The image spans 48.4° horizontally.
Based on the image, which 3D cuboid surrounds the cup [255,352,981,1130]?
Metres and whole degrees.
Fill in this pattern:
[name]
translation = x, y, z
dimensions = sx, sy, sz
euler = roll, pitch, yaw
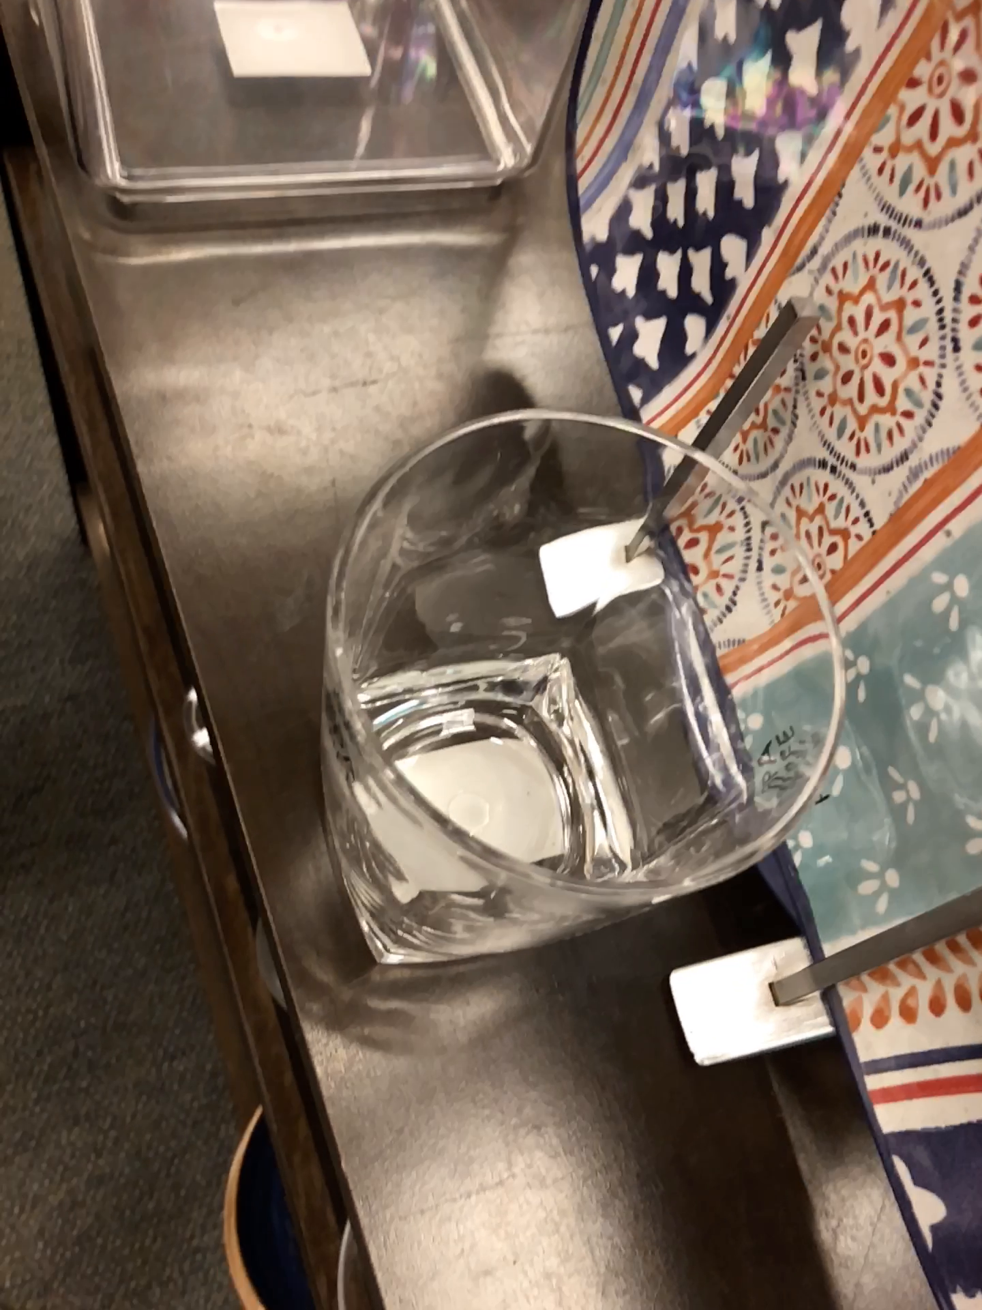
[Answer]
[cup]
translation = 0.018, 0.022, 0.233
dimensions = 0.108, 0.111, 0.114
euler = 6, 64, -12
